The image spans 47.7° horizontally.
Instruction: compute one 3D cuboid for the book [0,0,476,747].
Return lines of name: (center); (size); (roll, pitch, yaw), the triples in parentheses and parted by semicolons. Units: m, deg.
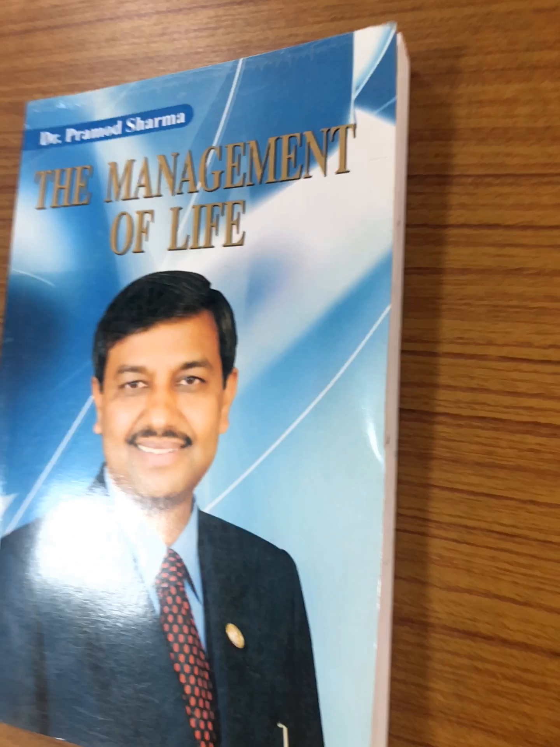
book: (-0.023, 0.009, 0.189); (0.150, 0.020, 0.210); (0, 83, 25)
